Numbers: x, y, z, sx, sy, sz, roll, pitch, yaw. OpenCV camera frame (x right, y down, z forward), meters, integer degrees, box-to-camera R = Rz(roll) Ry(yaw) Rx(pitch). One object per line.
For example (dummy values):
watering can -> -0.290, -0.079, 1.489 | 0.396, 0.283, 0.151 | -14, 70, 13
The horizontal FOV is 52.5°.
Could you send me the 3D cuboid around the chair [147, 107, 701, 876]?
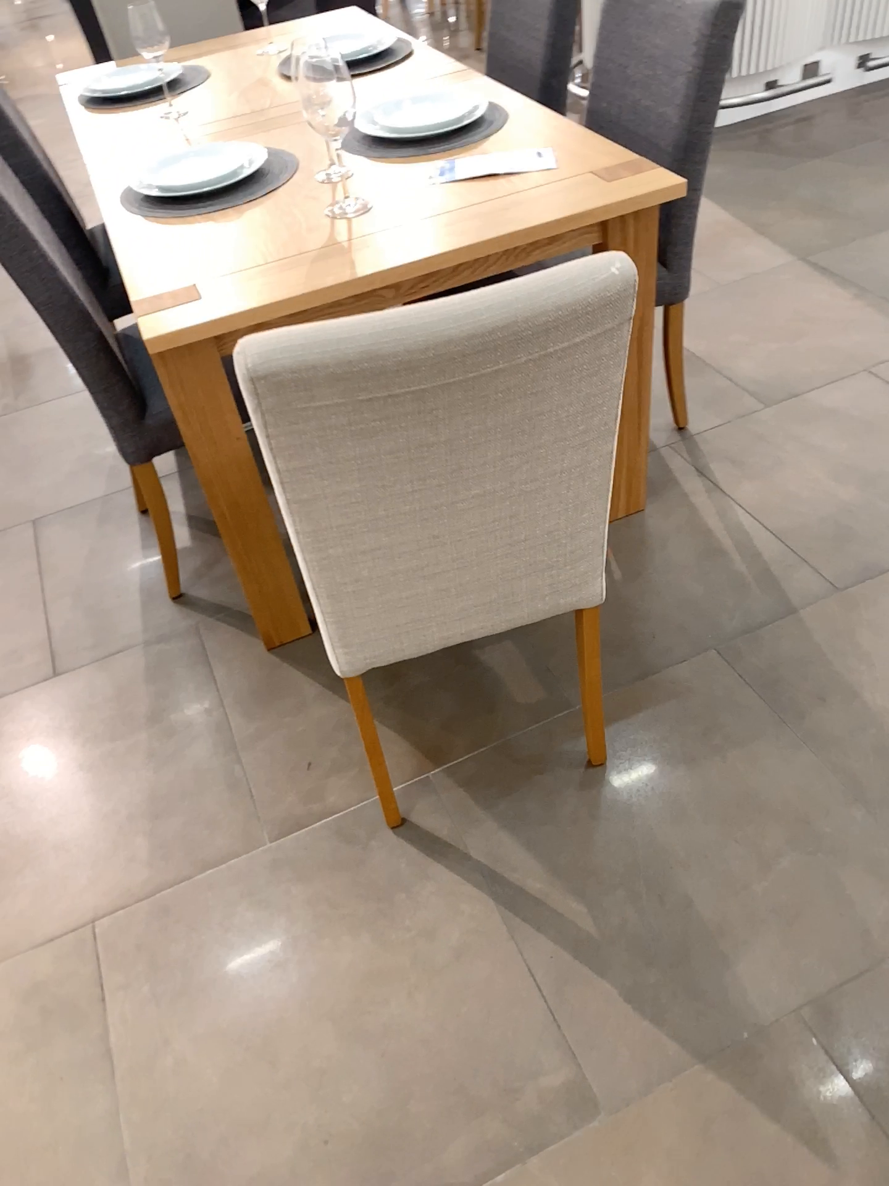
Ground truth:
chair -> -0.037, -0.148, 1.365 | 0.536, 0.838, 0.648 | -15, 42, -6
